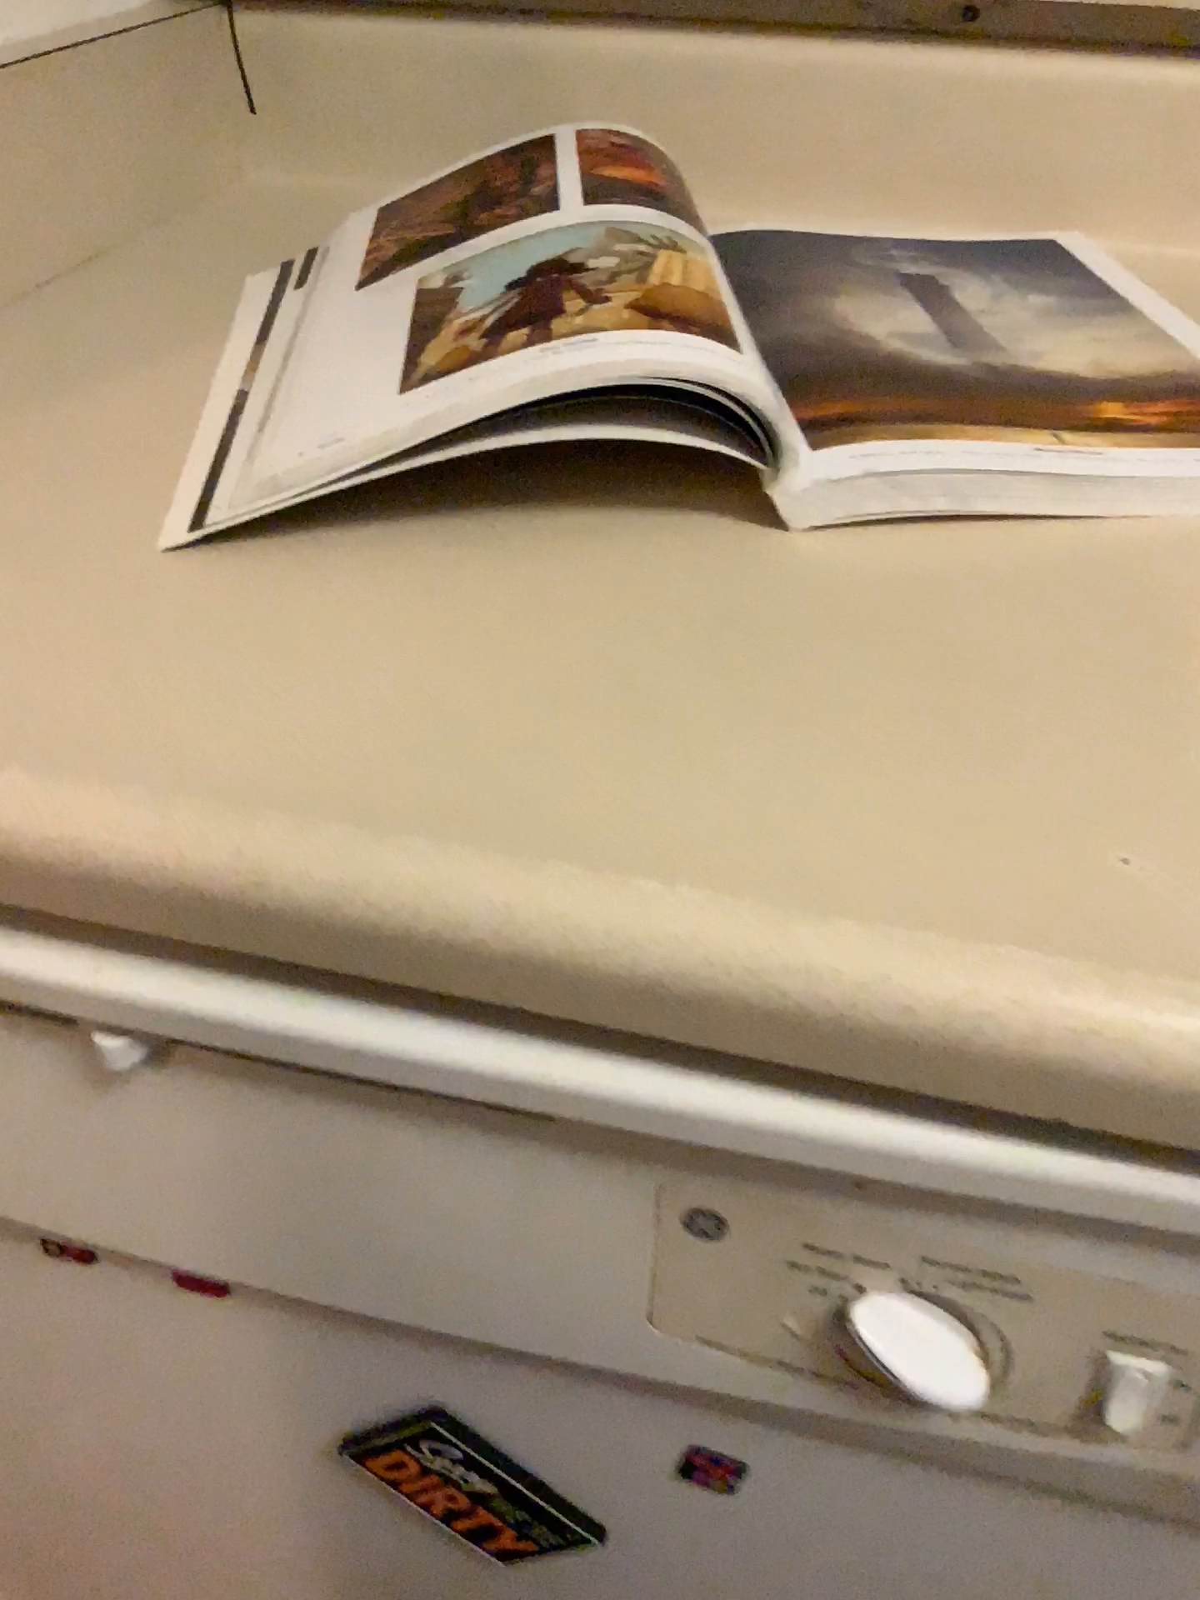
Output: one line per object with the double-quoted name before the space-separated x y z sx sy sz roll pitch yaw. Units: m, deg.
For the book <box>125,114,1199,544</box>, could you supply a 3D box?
"book" 0.063 -0.223 0.577 0.450 0.070 0.320 -3 38 -4
